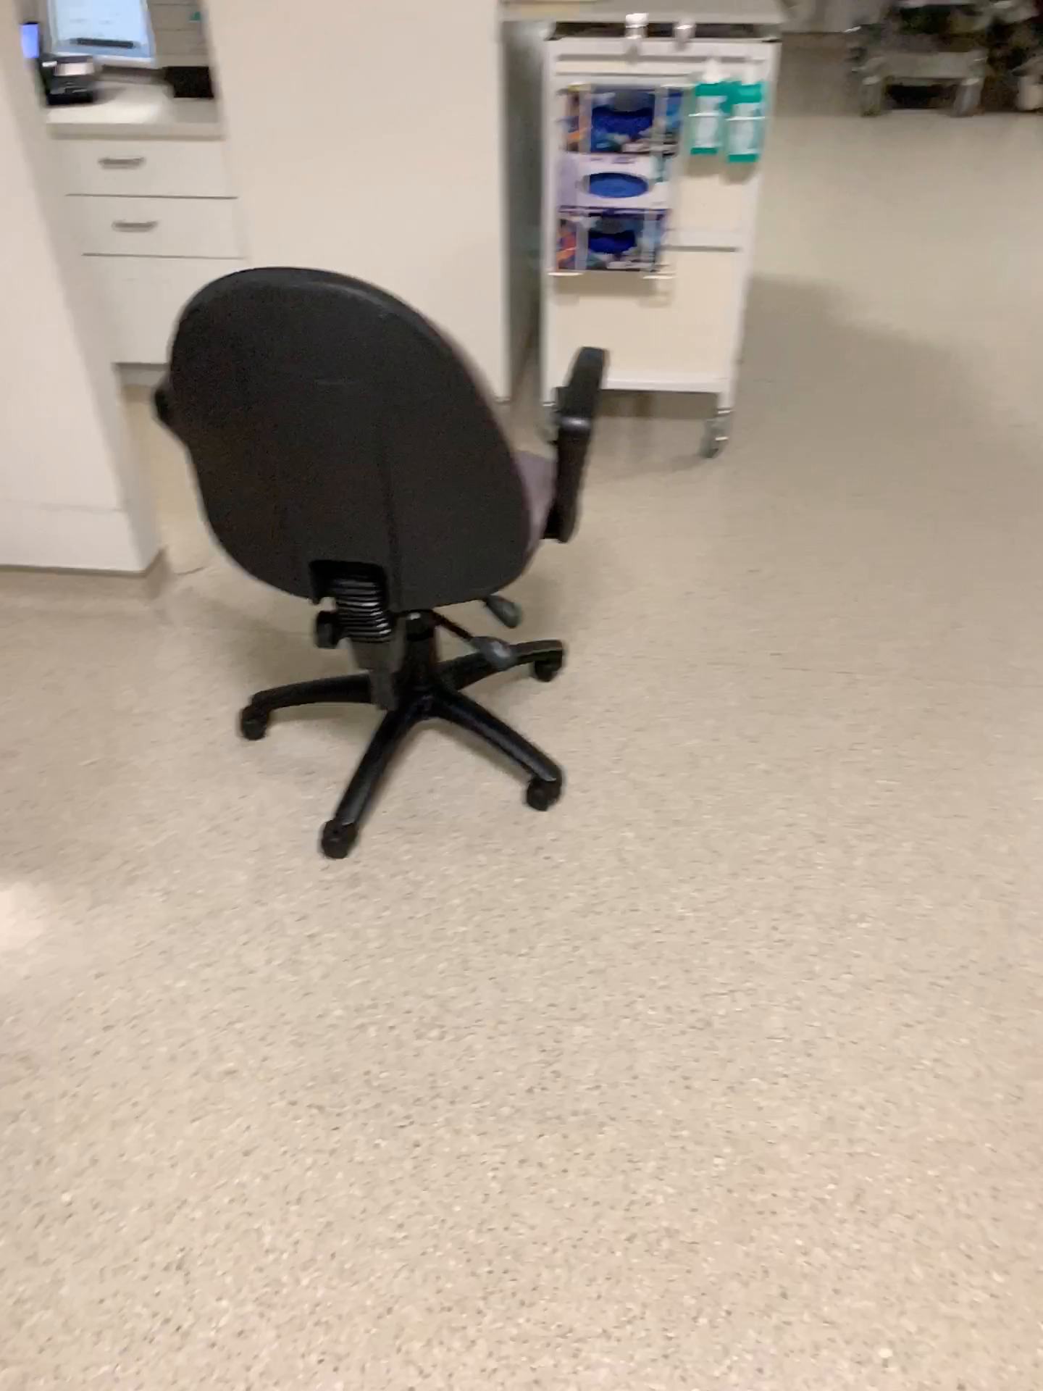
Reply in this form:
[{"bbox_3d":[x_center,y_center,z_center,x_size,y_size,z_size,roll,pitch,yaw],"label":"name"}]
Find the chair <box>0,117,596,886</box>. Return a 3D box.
[{"bbox_3d":[-0.240,-0.291,1.599,0.632,0.899,0.660,4,40,5],"label":"chair"}]
